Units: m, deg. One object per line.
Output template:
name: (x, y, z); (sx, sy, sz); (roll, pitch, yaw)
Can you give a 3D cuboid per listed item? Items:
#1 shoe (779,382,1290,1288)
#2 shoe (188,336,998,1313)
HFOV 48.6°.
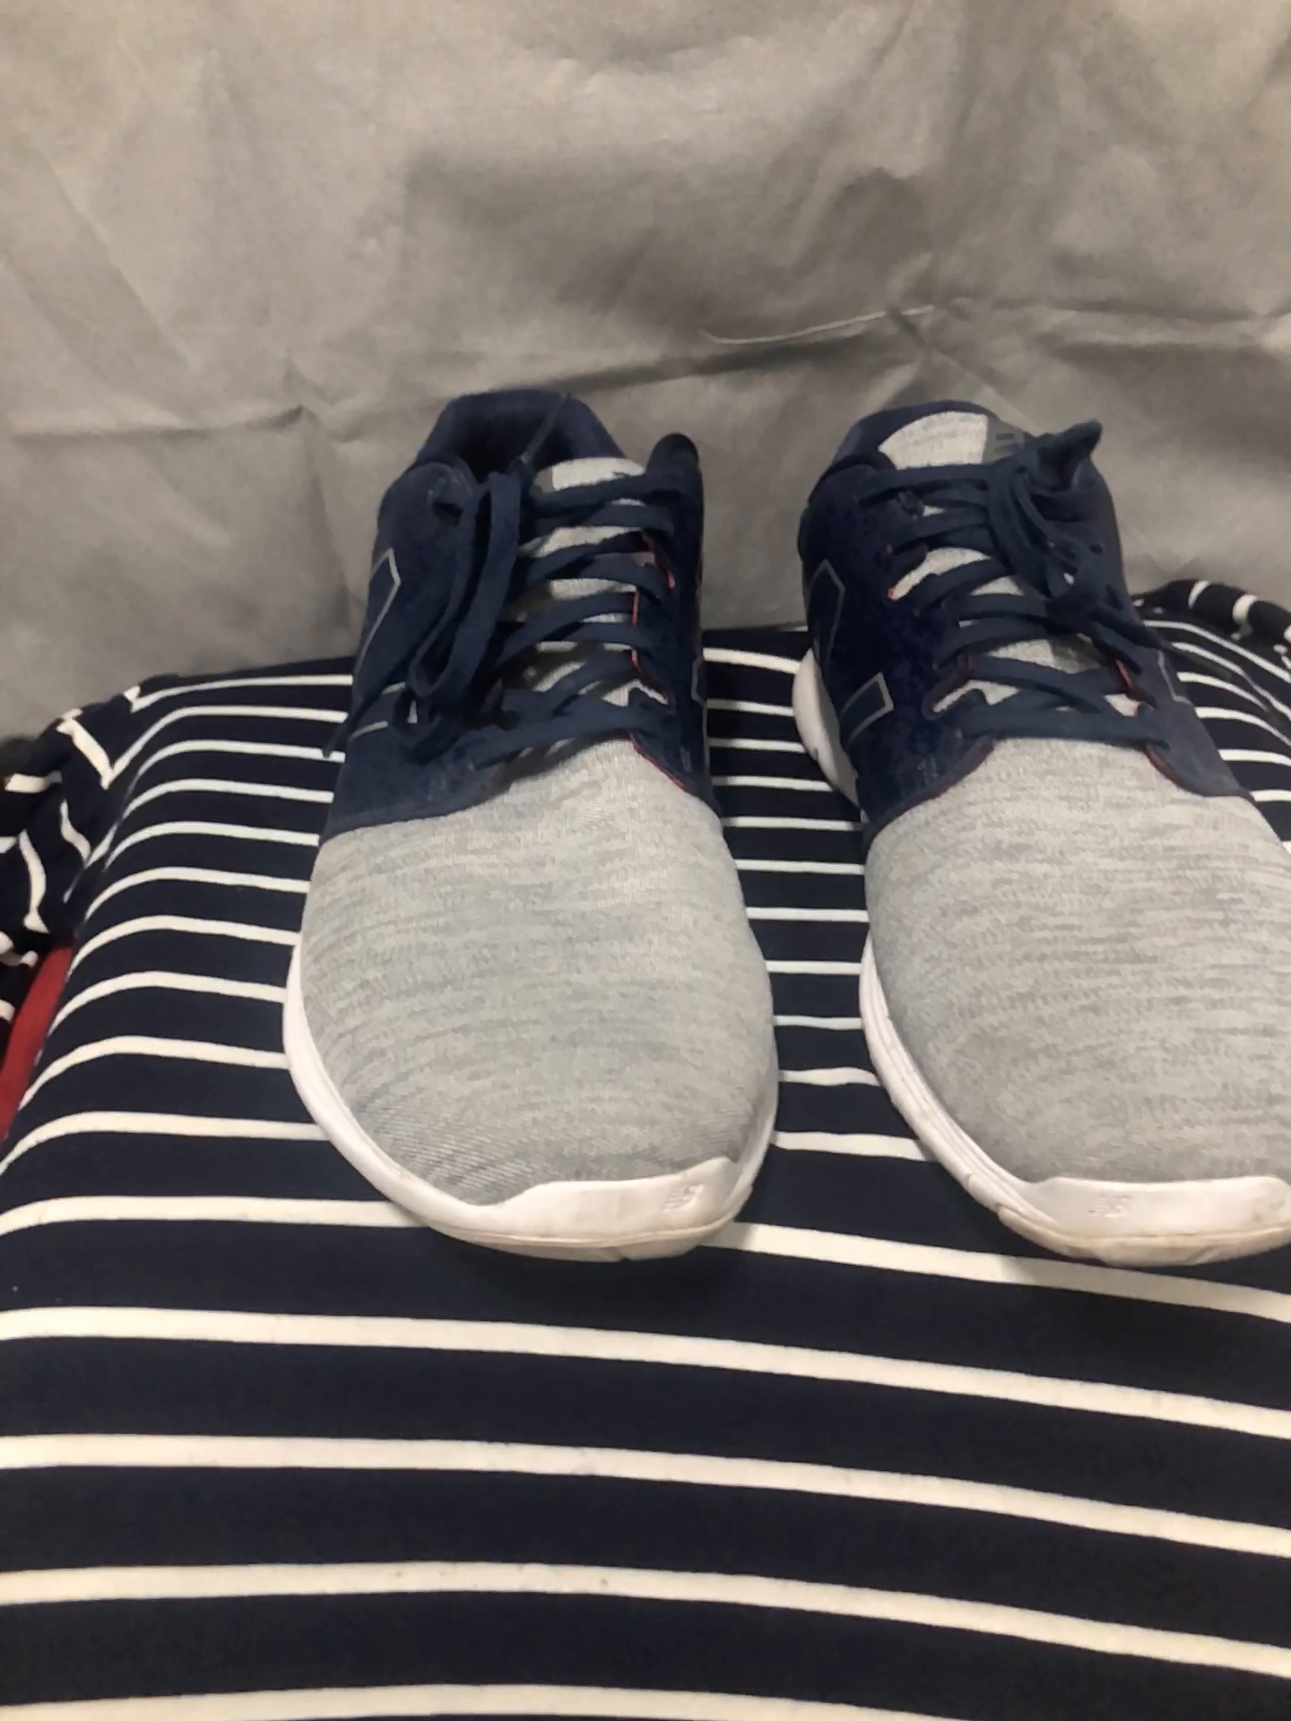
shoe: (0.109, -0.034, 0.337); (0.120, 0.079, 0.262); (-3, 34, -2)
shoe: (-0.014, -0.048, 0.370); (0.120, 0.089, 0.323); (-3, 34, -2)
